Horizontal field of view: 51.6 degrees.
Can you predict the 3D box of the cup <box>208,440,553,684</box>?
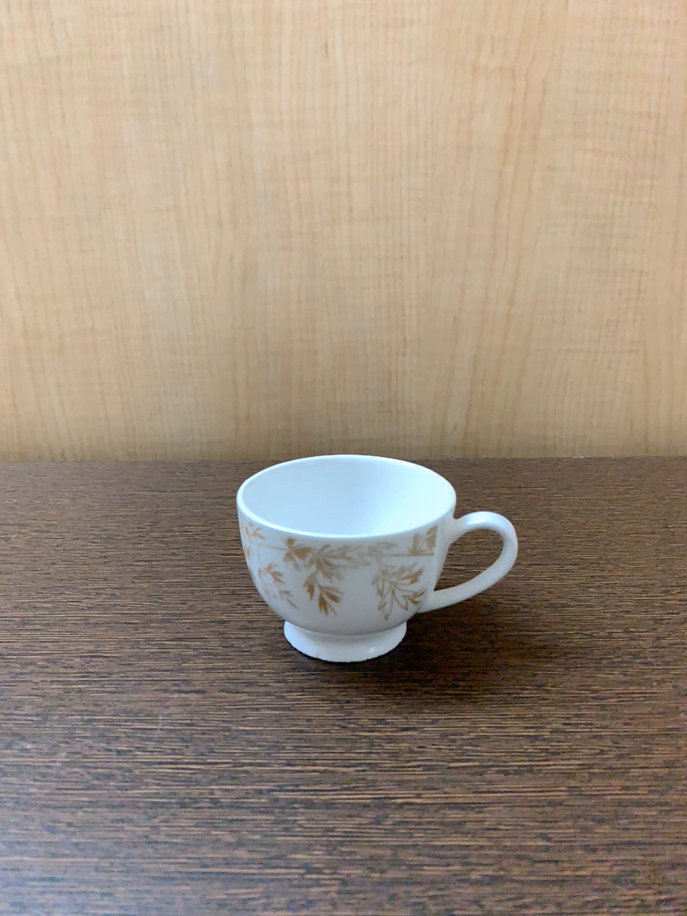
[{"bbox_3d":[0.014,0.031,0.252,0.100,0.050,0.081,2,19,5],"label":"cup"}]
